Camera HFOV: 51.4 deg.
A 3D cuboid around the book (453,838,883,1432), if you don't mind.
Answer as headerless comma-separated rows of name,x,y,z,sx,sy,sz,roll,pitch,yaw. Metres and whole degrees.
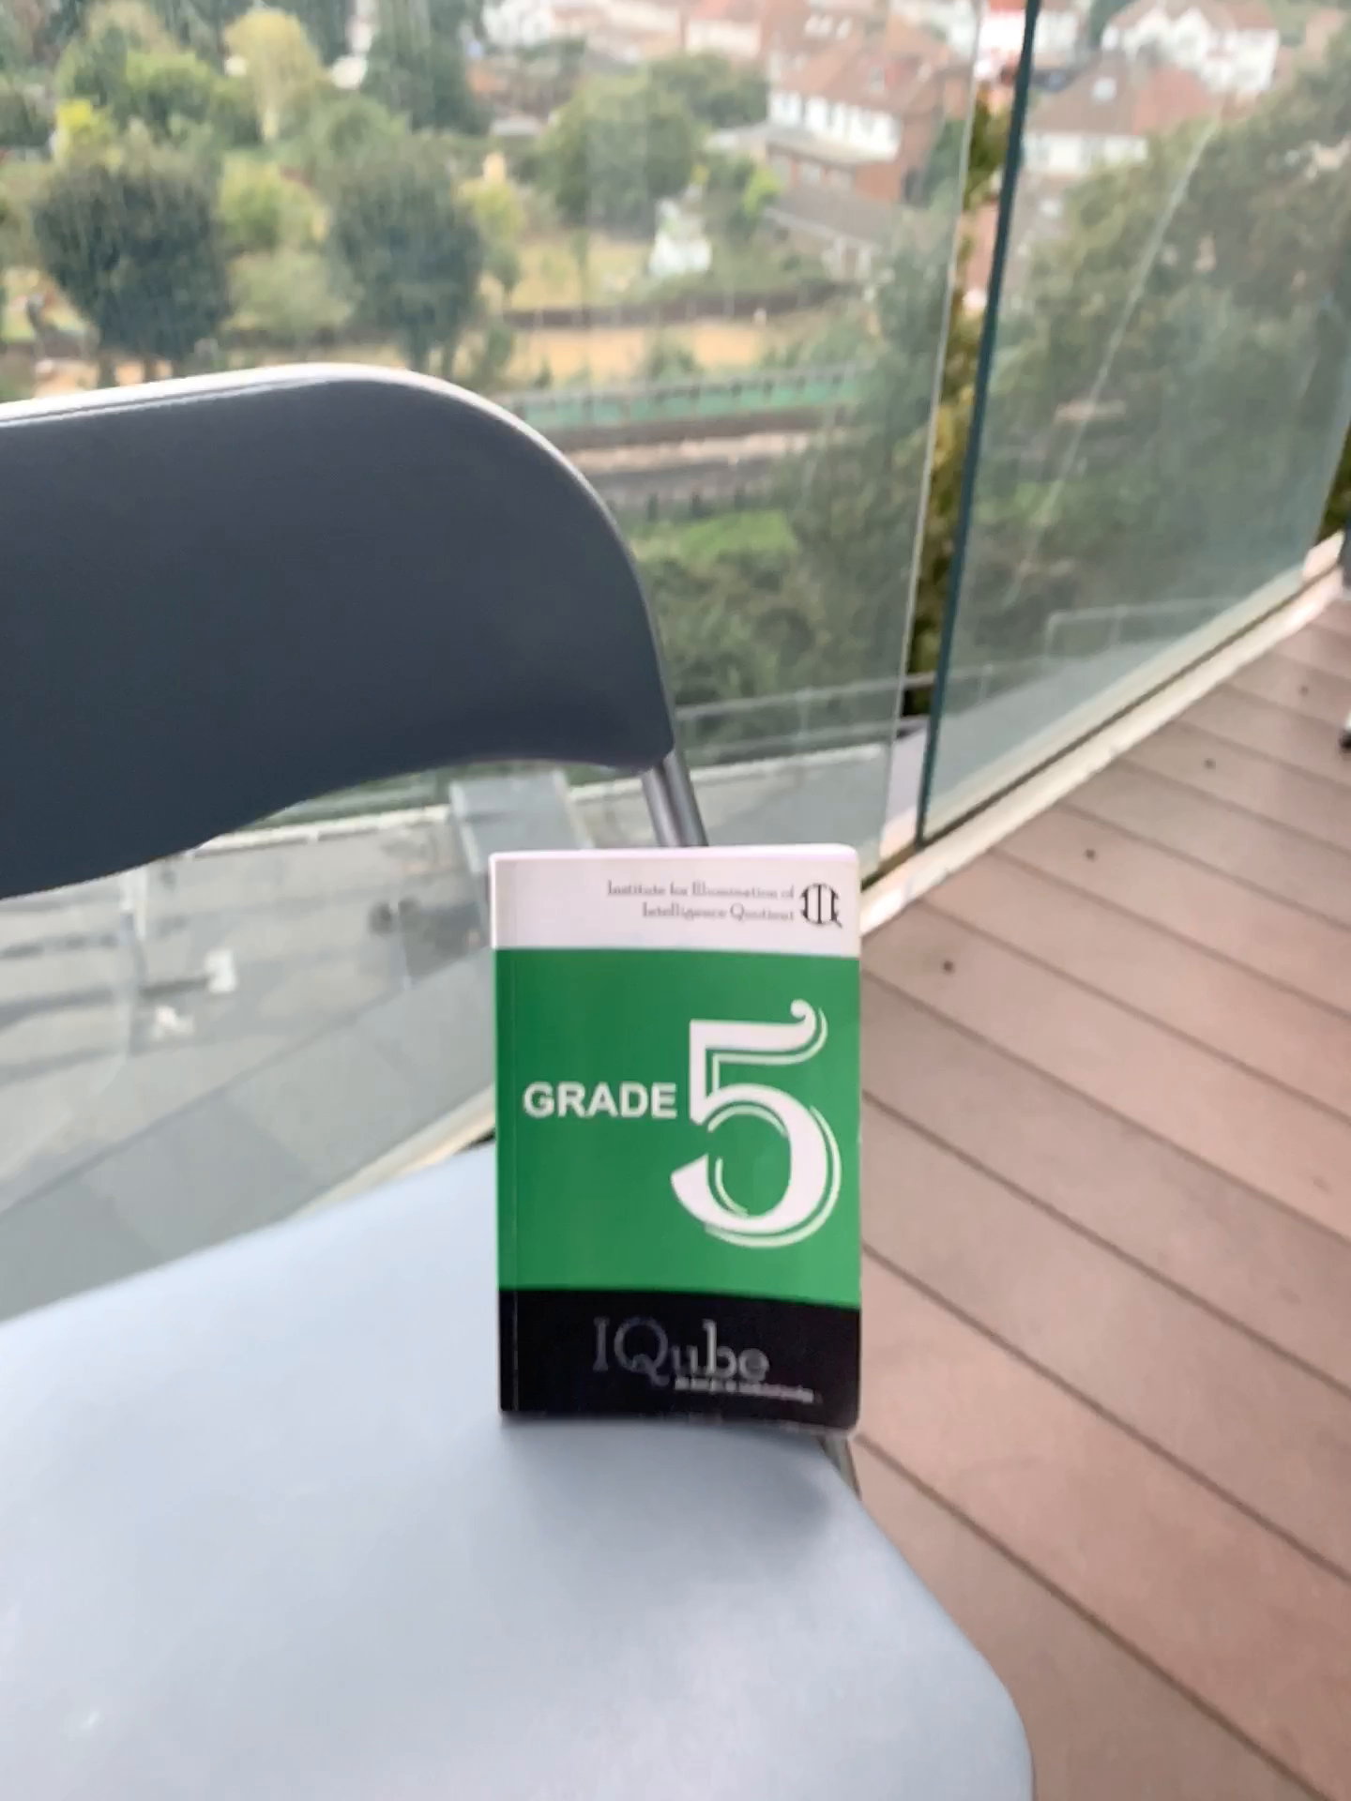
book,-0.001,0.084,0.520,0.150,0.210,0.040,-1,3,5
